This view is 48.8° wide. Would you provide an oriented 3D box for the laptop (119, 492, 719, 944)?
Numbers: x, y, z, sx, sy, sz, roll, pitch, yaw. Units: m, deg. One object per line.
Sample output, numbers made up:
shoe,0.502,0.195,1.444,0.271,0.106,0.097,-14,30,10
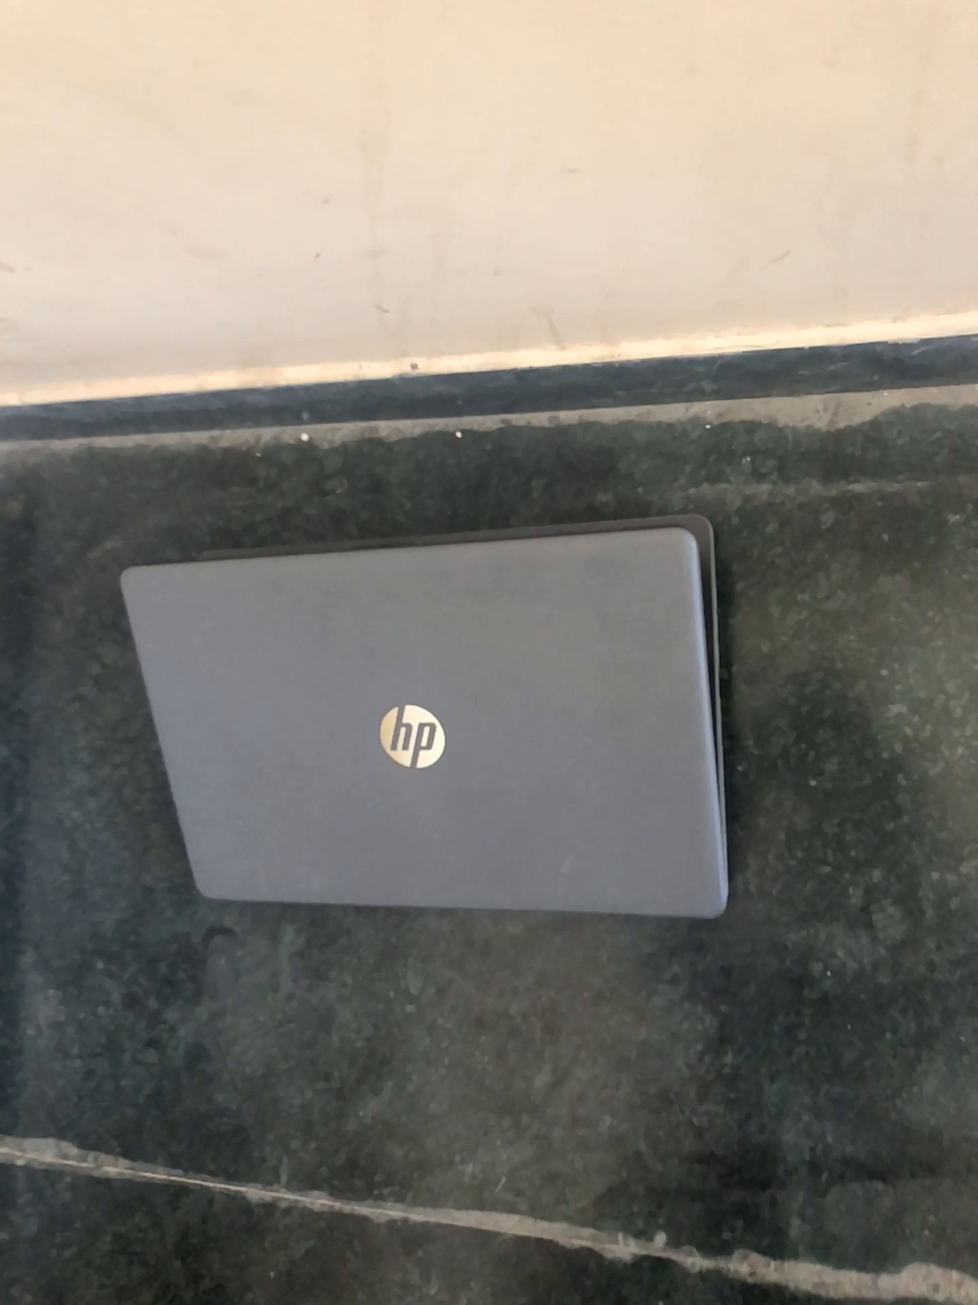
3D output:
laptop,-0.047,0.042,0.677,0.357,0.092,0.243,-2,89,18
